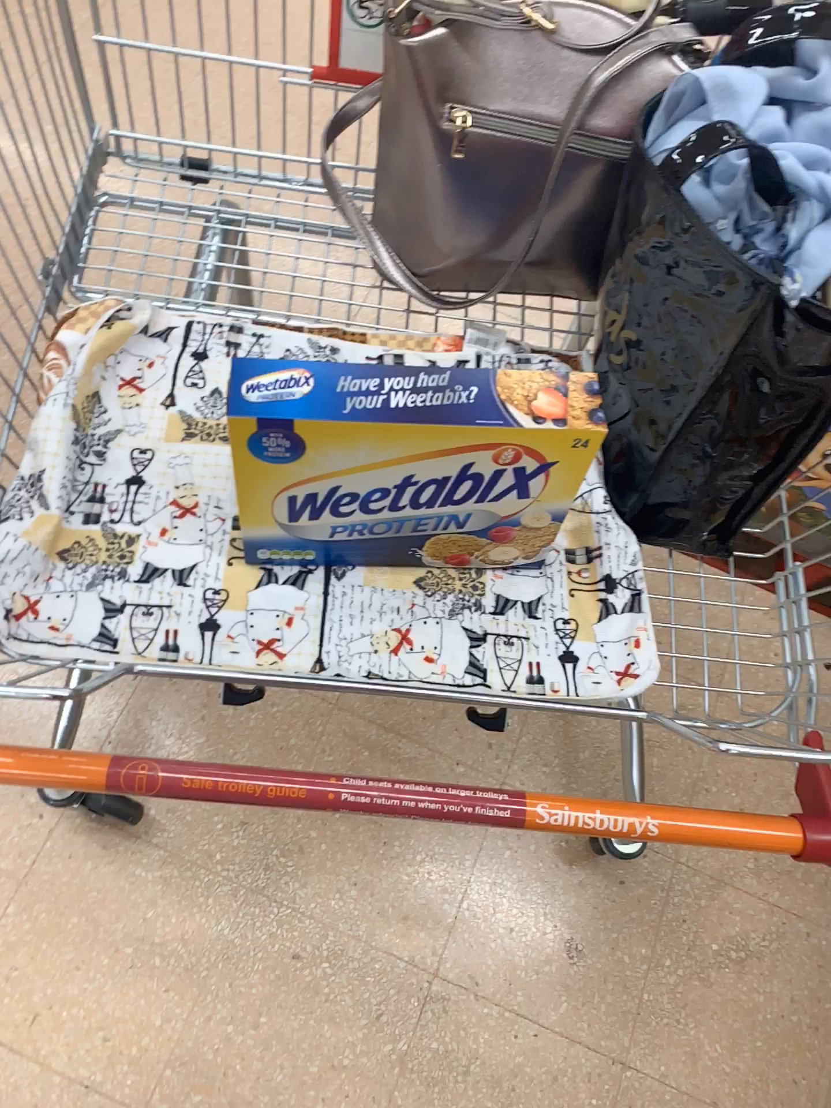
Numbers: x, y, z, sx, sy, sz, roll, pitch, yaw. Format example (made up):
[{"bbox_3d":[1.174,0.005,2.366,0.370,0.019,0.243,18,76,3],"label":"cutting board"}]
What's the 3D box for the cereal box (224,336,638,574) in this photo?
[{"bbox_3d":[0.000,-0.061,0.624,0.260,0.199,0.060,0,59,-8],"label":"cereal box"}]
